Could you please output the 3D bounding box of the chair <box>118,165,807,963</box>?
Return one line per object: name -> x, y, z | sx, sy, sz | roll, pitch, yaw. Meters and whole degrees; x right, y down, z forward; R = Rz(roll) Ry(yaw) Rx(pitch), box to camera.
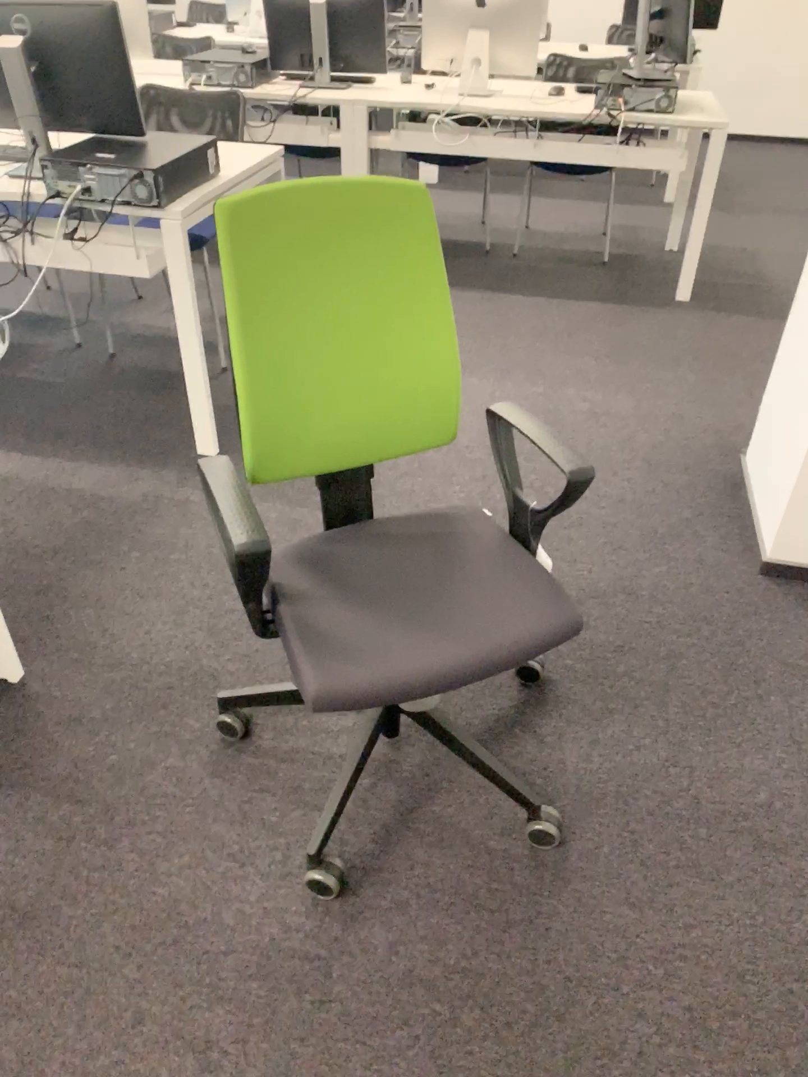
chair -> 0.027, 0.016, 1.424 | 0.721, 1.054, 0.673 | -15, 39, -21
